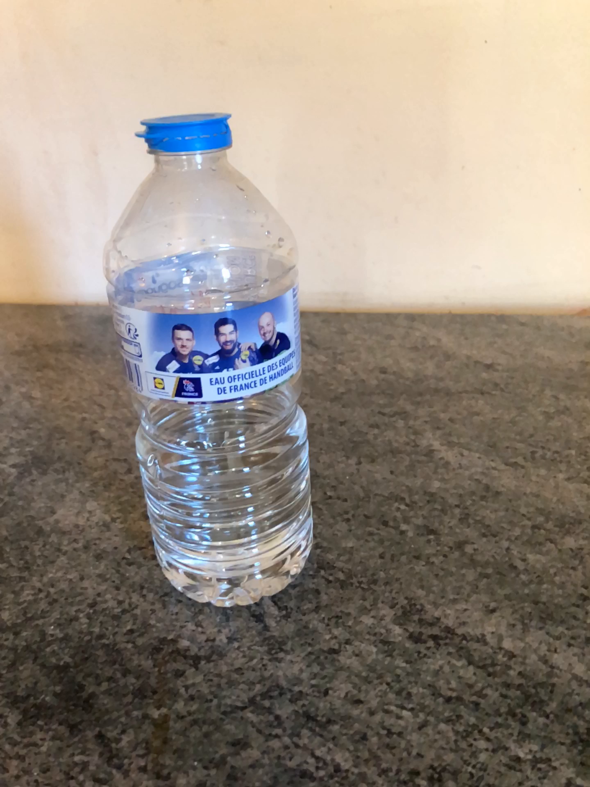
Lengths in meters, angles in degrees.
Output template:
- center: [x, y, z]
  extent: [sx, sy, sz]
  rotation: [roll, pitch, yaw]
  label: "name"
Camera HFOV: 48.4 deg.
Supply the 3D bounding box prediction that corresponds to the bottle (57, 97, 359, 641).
- center: [-0.027, -0.009, 0.235]
  extent: [0.070, 0.169, 0.070]
  rotation: [-4, 28, 2]
  label: "bottle"
